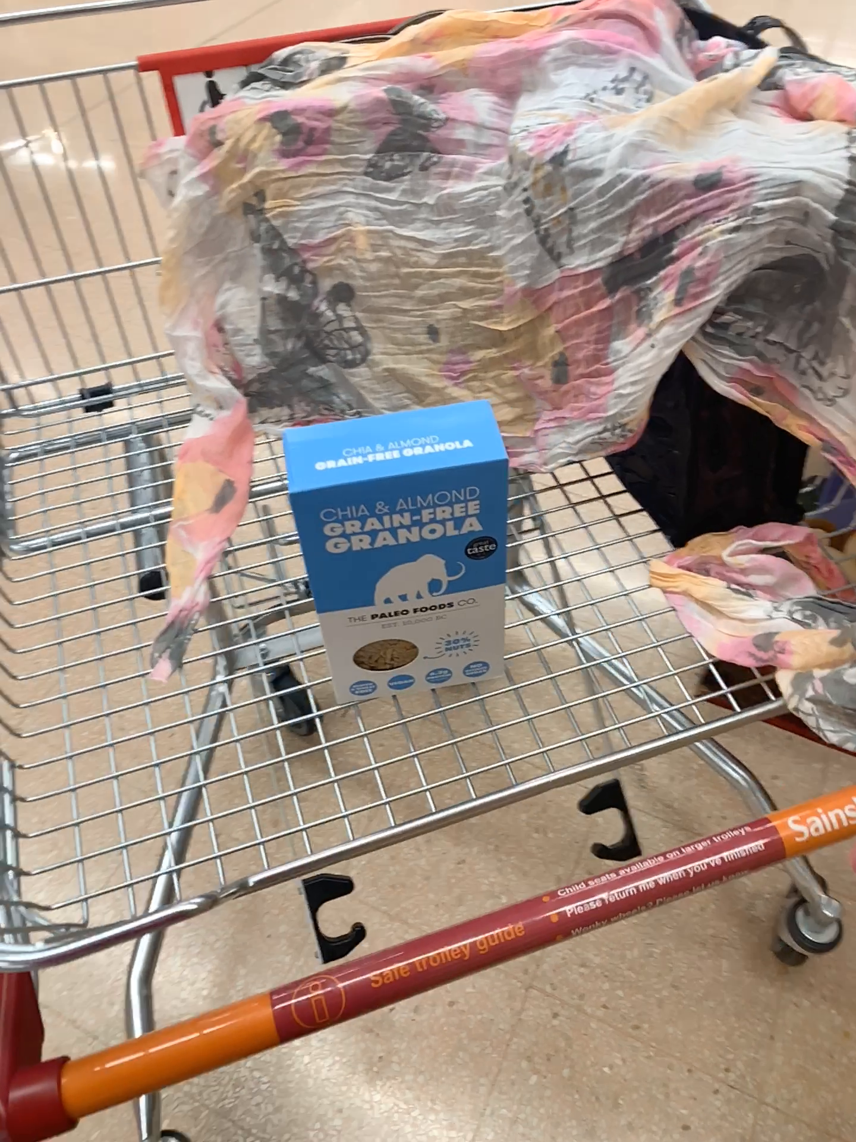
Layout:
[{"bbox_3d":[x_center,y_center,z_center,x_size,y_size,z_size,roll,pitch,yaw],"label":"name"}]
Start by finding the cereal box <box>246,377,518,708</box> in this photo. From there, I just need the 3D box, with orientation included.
[{"bbox_3d":[-0.025,-0.009,0.549,0.140,0.208,0.061,-9,48,-7],"label":"cereal box"}]
